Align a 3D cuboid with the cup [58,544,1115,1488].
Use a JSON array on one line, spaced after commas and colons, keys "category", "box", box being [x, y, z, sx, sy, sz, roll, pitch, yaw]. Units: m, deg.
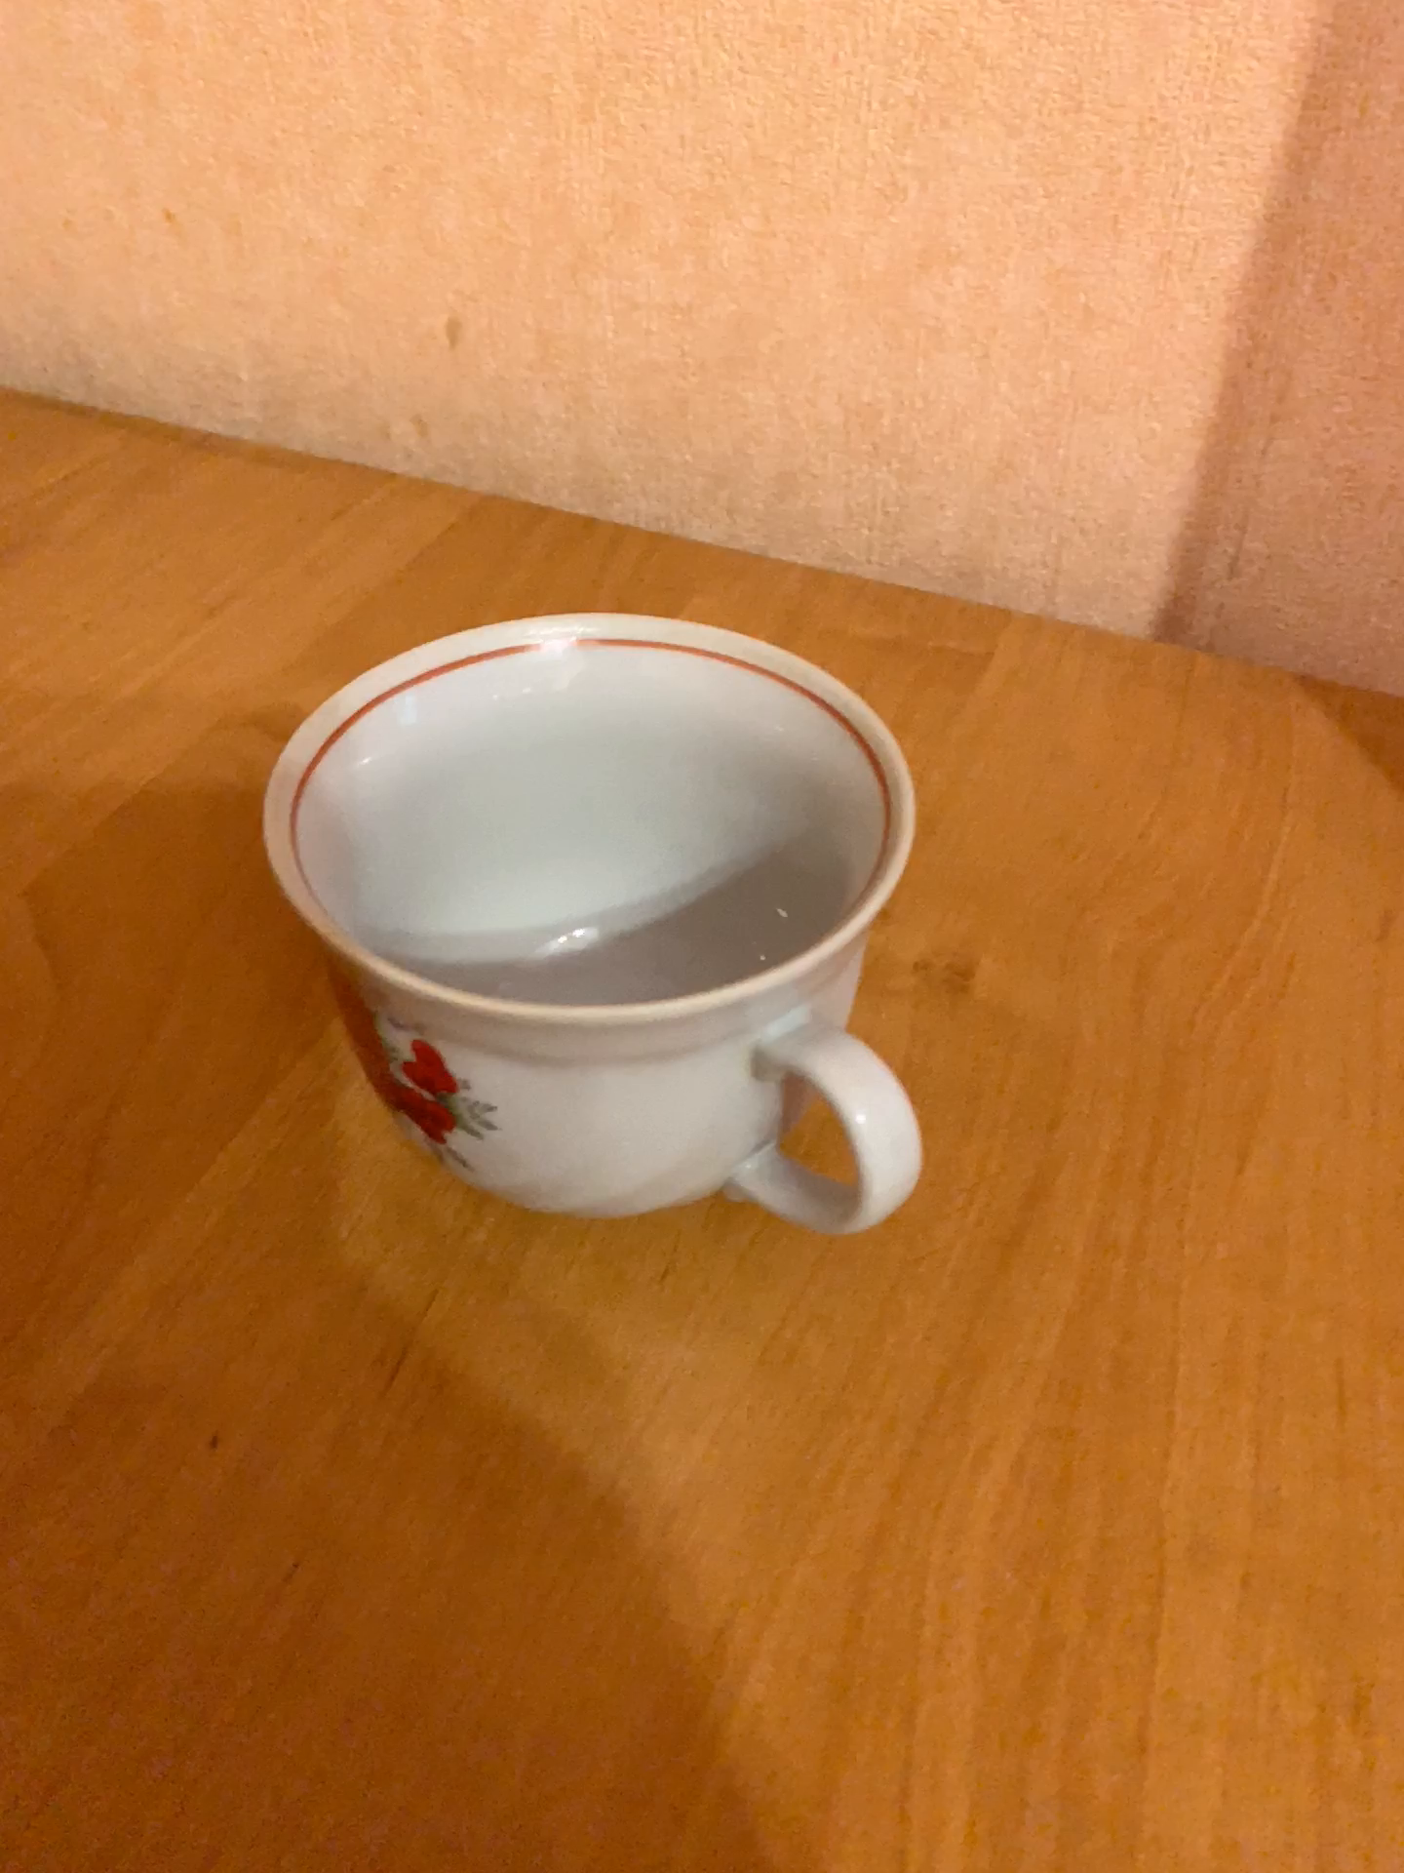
[{"category": "cup", "box": [-0.015, 0.002, 0.207, 0.109, 0.056, 0.083, 28, 48, 26]}]
